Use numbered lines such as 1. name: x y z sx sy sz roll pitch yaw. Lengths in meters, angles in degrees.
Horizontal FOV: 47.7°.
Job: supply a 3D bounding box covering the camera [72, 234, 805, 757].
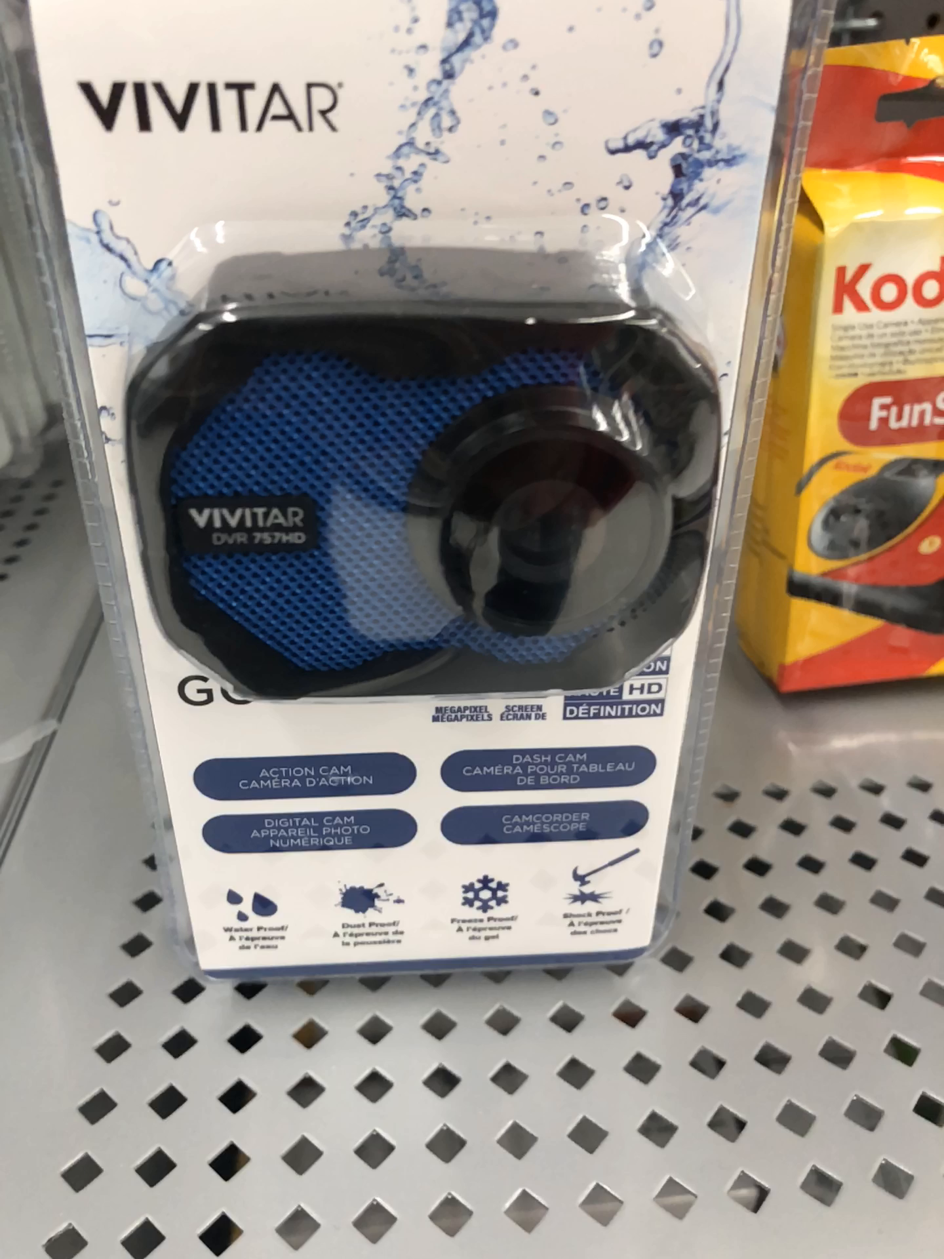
1. camera: -0.004 -0.018 0.132 0.070 0.050 0.040 -2 32 -2
